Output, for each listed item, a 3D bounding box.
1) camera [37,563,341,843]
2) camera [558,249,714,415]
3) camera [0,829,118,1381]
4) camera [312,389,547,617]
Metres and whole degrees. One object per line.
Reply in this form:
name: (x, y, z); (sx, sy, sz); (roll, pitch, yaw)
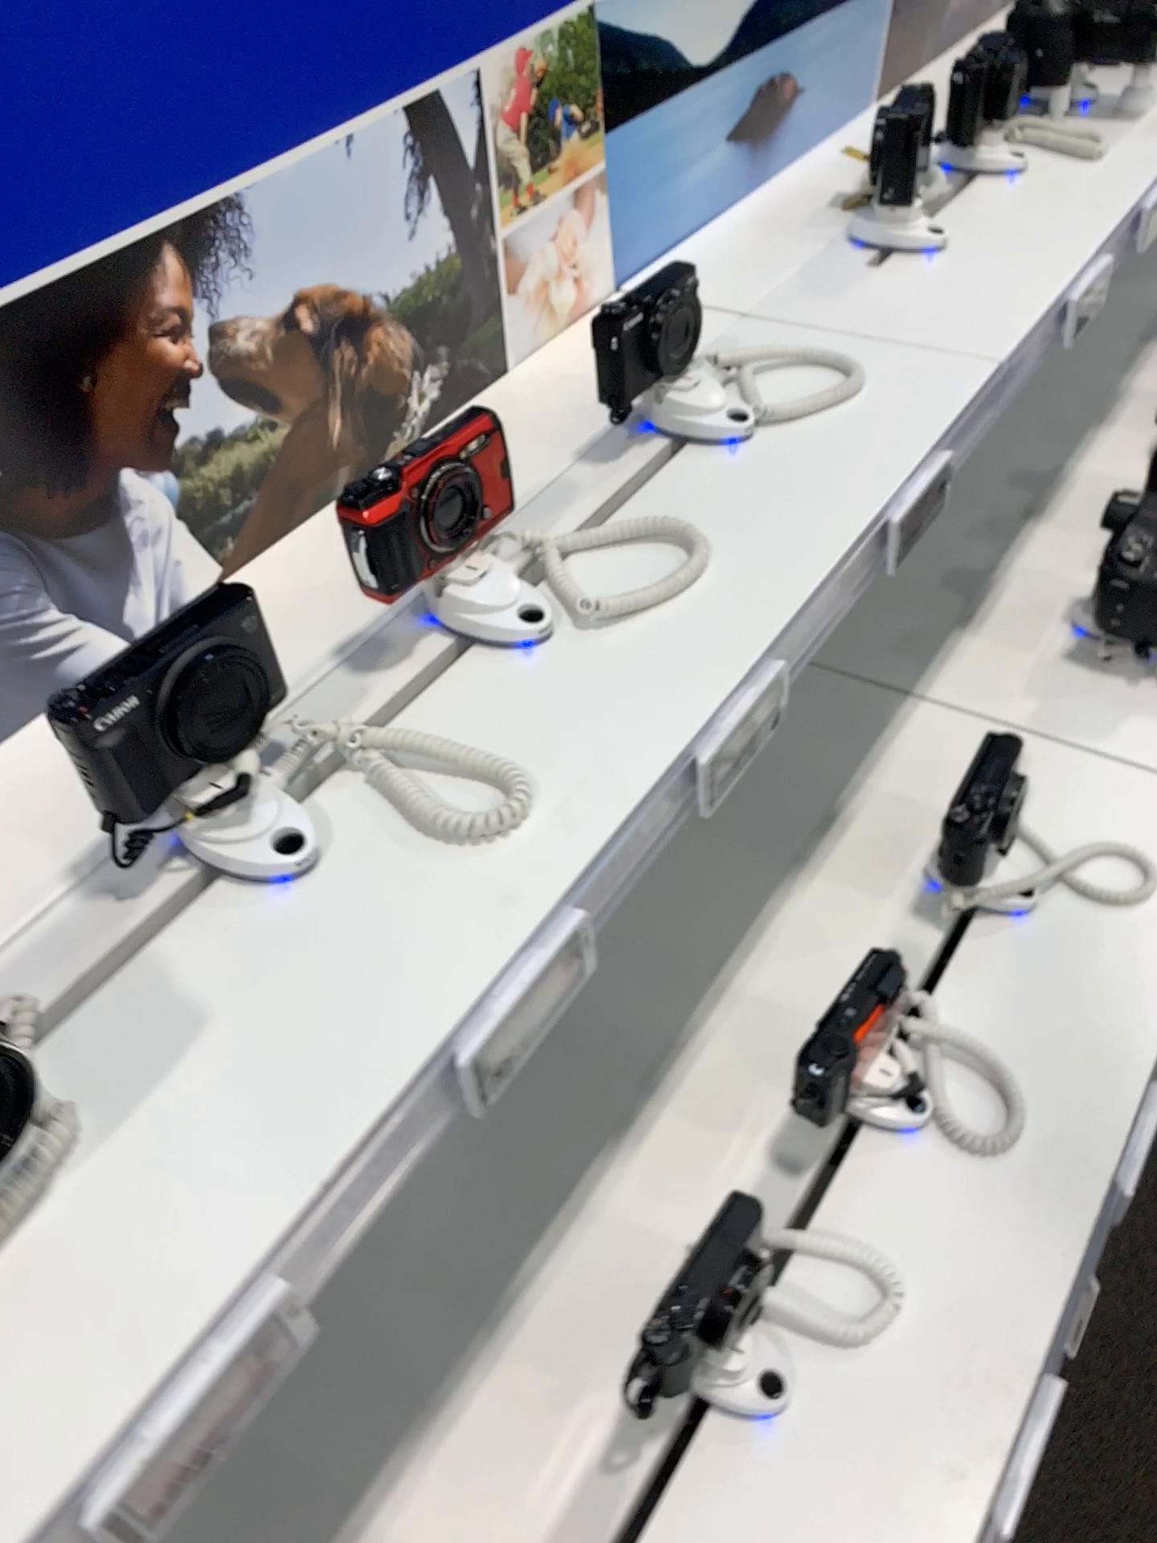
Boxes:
camera: (-0.177, -0.035, 0.557); (0.050, 0.060, 0.120); (22, 51, 28)
camera: (0.041, -0.296, 0.800); (0.050, 0.060, 0.110); (22, 51, 28)
camera: (-0.251, 0.105, 0.401); (0.110, 0.080, 0.120); (22, 51, 28)
camera: (-0.079, -0.152, 0.664); (0.050, 0.060, 0.130); (22, 51, 28)
